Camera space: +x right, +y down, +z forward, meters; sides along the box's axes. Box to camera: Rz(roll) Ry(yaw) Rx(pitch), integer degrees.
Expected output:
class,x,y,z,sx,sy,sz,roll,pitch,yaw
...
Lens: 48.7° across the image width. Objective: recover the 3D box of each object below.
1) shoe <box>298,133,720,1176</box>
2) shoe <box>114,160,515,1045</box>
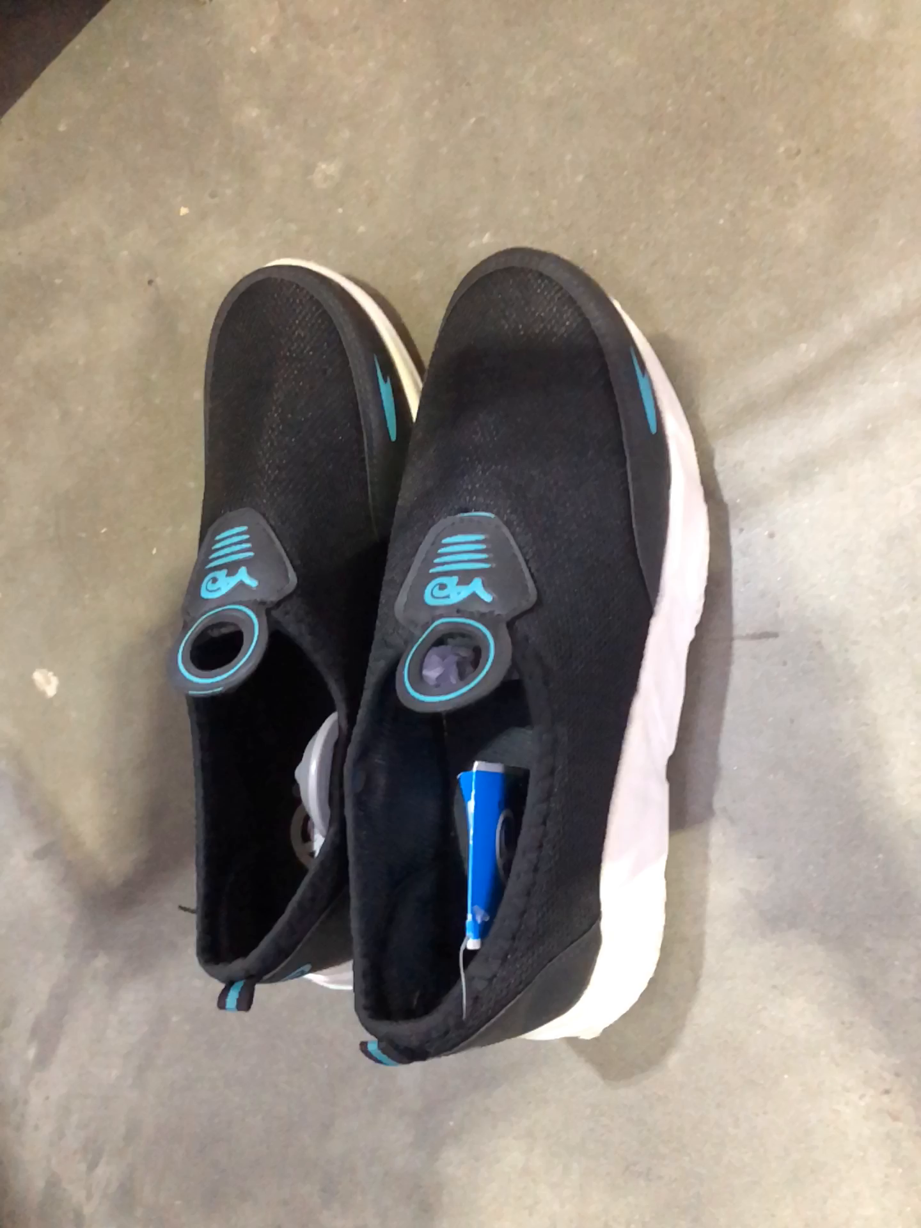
class,x,y,z,sx,sy,sz,roll,pitch,yaw
shoe,0.024,0.010,0.361,0.110,0.100,0.300,0,85,25
shoe,-0.058,-0.002,0.409,0.110,0.100,0.300,-7,82,25
